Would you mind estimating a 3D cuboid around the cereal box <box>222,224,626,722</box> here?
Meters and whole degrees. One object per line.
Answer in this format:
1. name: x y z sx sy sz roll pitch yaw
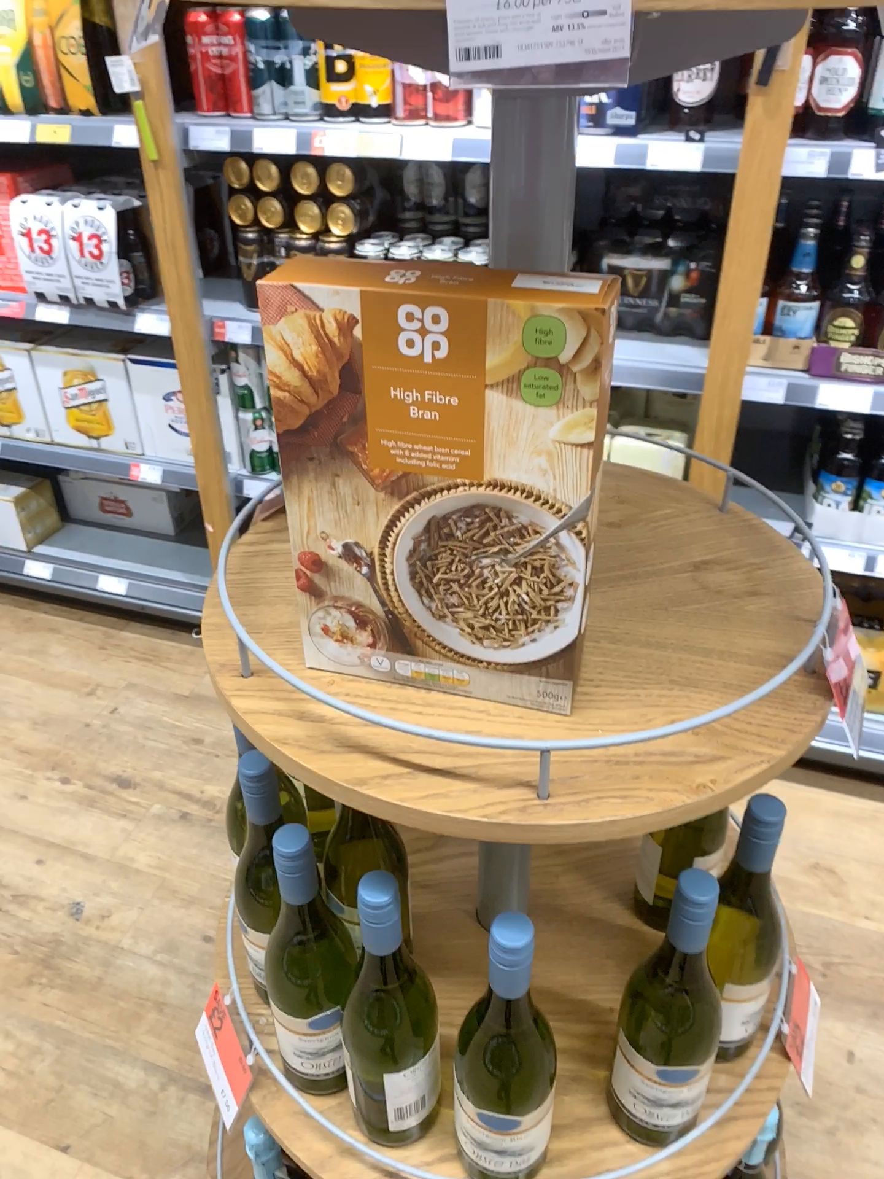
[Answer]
1. cereal box: -0.007 -0.062 0.546 0.200 0.277 0.061 9 35 14
